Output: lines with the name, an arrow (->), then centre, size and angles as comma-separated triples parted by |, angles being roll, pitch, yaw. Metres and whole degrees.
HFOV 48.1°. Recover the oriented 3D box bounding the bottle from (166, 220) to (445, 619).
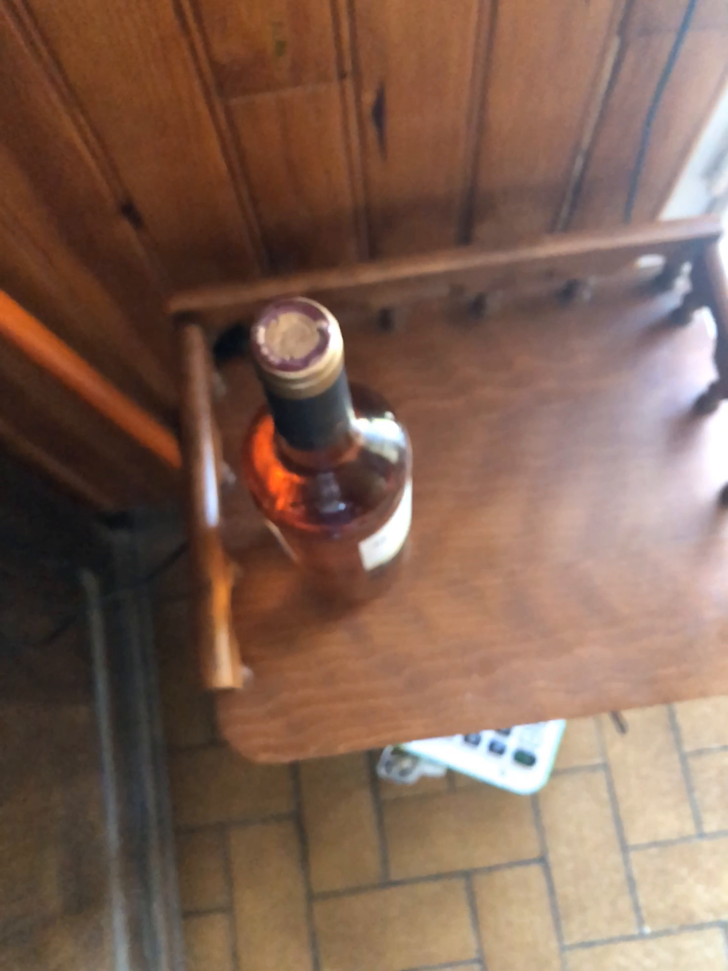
bottle -> -0.010, 0.000, 0.379 | 0.070, 0.290, 0.080 | 8, 74, 5
